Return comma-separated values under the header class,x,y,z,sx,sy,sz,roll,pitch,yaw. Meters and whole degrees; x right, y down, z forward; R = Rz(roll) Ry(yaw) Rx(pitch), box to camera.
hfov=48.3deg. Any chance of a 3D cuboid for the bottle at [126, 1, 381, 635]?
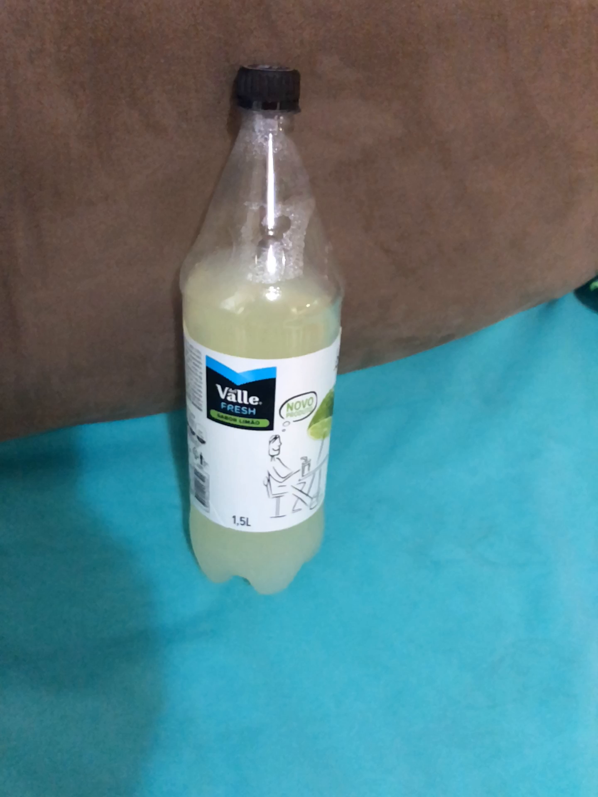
class,x,y,z,sx,sy,sz,roll,pitch,yaw
bottle,-0.022,-0.037,0.396,0.100,0.329,0.100,-2,22,1
